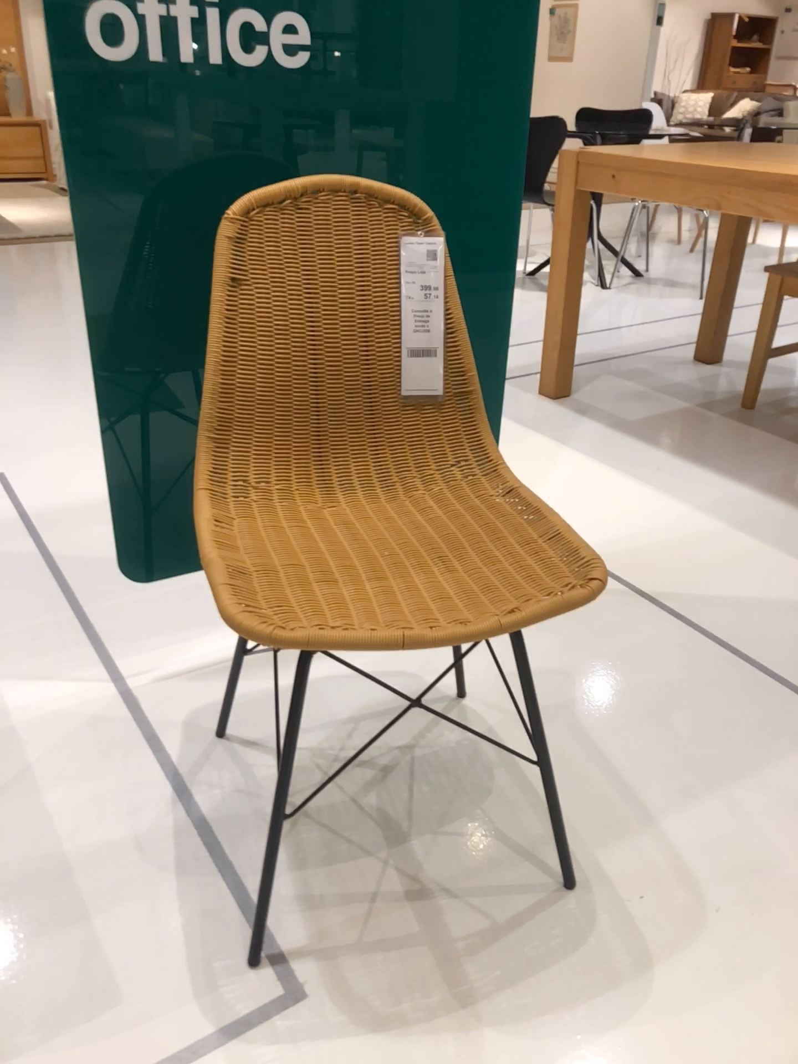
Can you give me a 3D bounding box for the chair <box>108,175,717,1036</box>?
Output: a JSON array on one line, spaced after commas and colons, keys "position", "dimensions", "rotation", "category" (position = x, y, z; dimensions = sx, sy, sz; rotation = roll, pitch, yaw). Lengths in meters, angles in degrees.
[{"position": [-0.058, 0.038, 1.121], "dimensions": [0.491, 0.864, 0.574], "rotation": [-7, 28, -16], "category": "chair"}]
